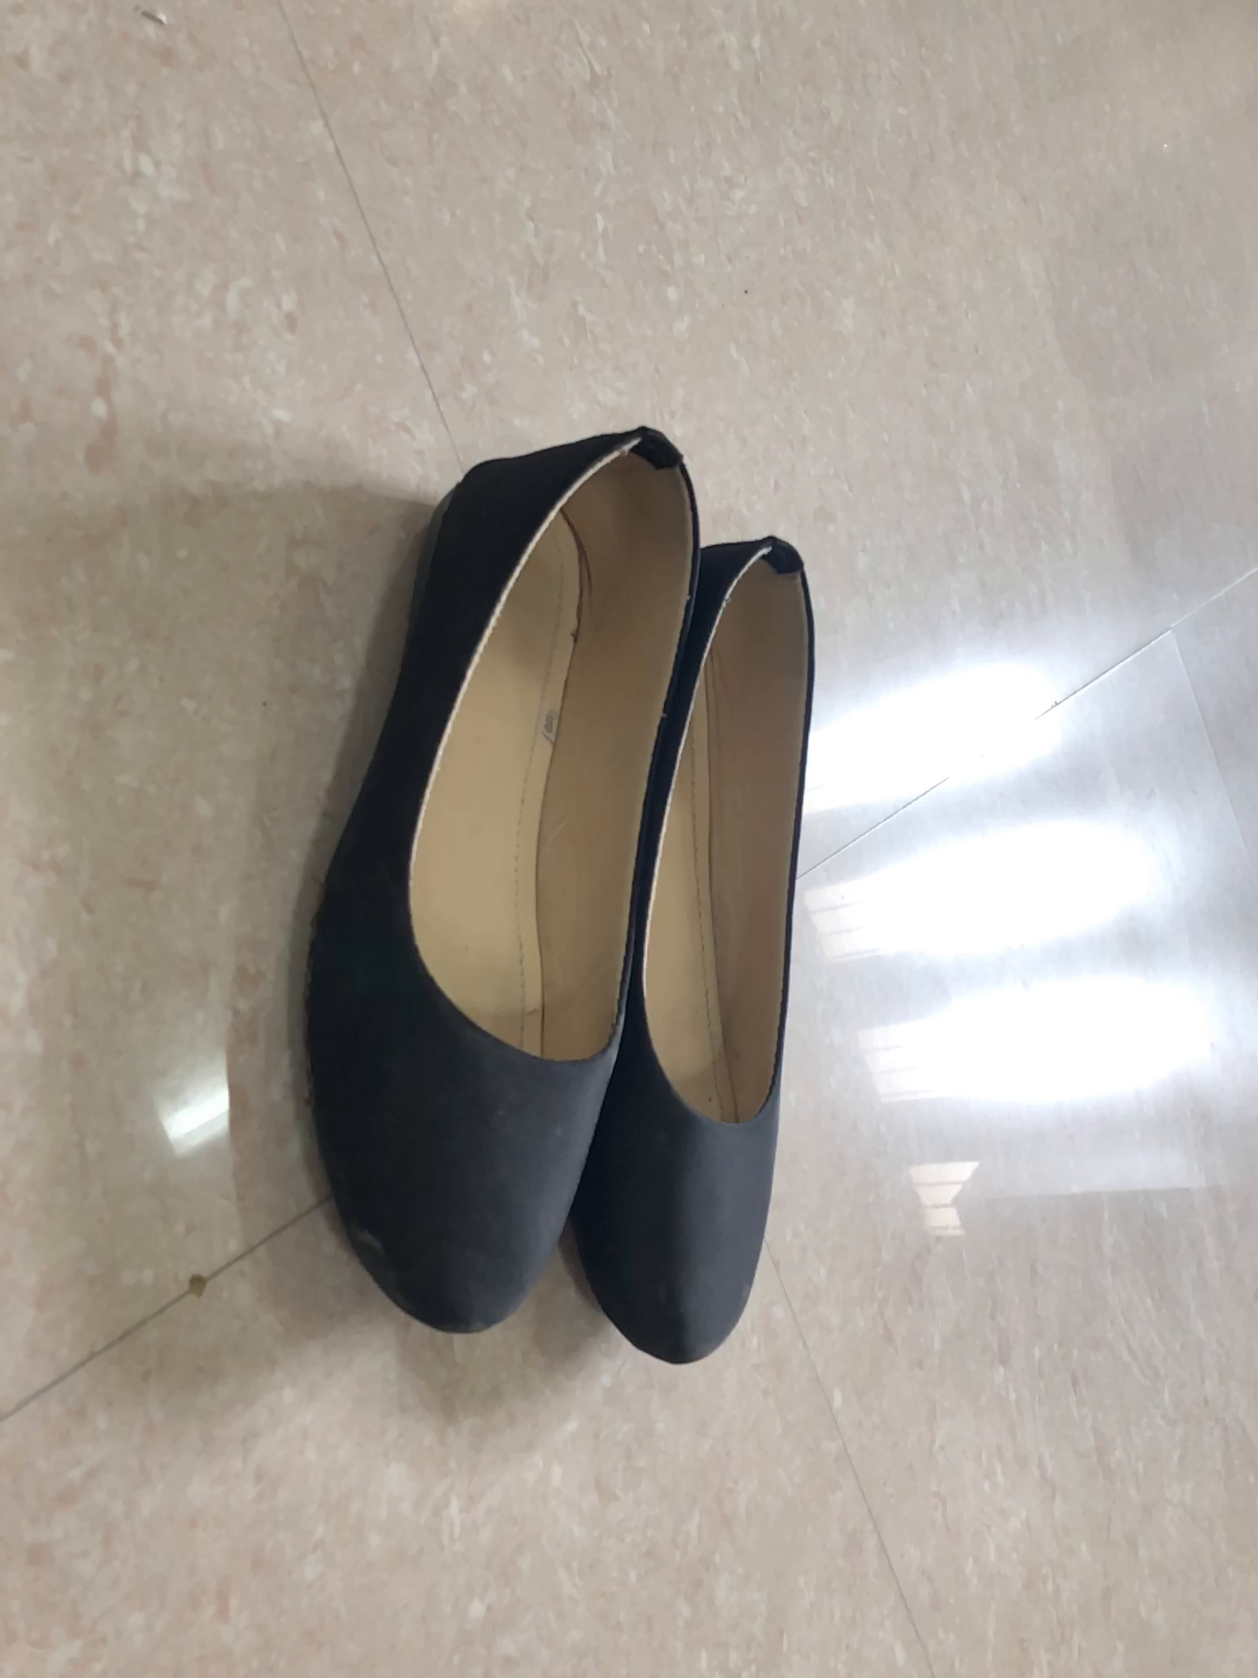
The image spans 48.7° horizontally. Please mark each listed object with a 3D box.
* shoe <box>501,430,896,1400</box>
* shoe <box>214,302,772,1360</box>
[{"bbox_3d":[0.026,0.022,0.400,0.090,0.060,0.250,19,67,-44],"label":"shoe"},{"bbox_3d":[-0.025,-0.003,0.364,0.090,0.060,0.250,27,62,-41],"label":"shoe"}]
